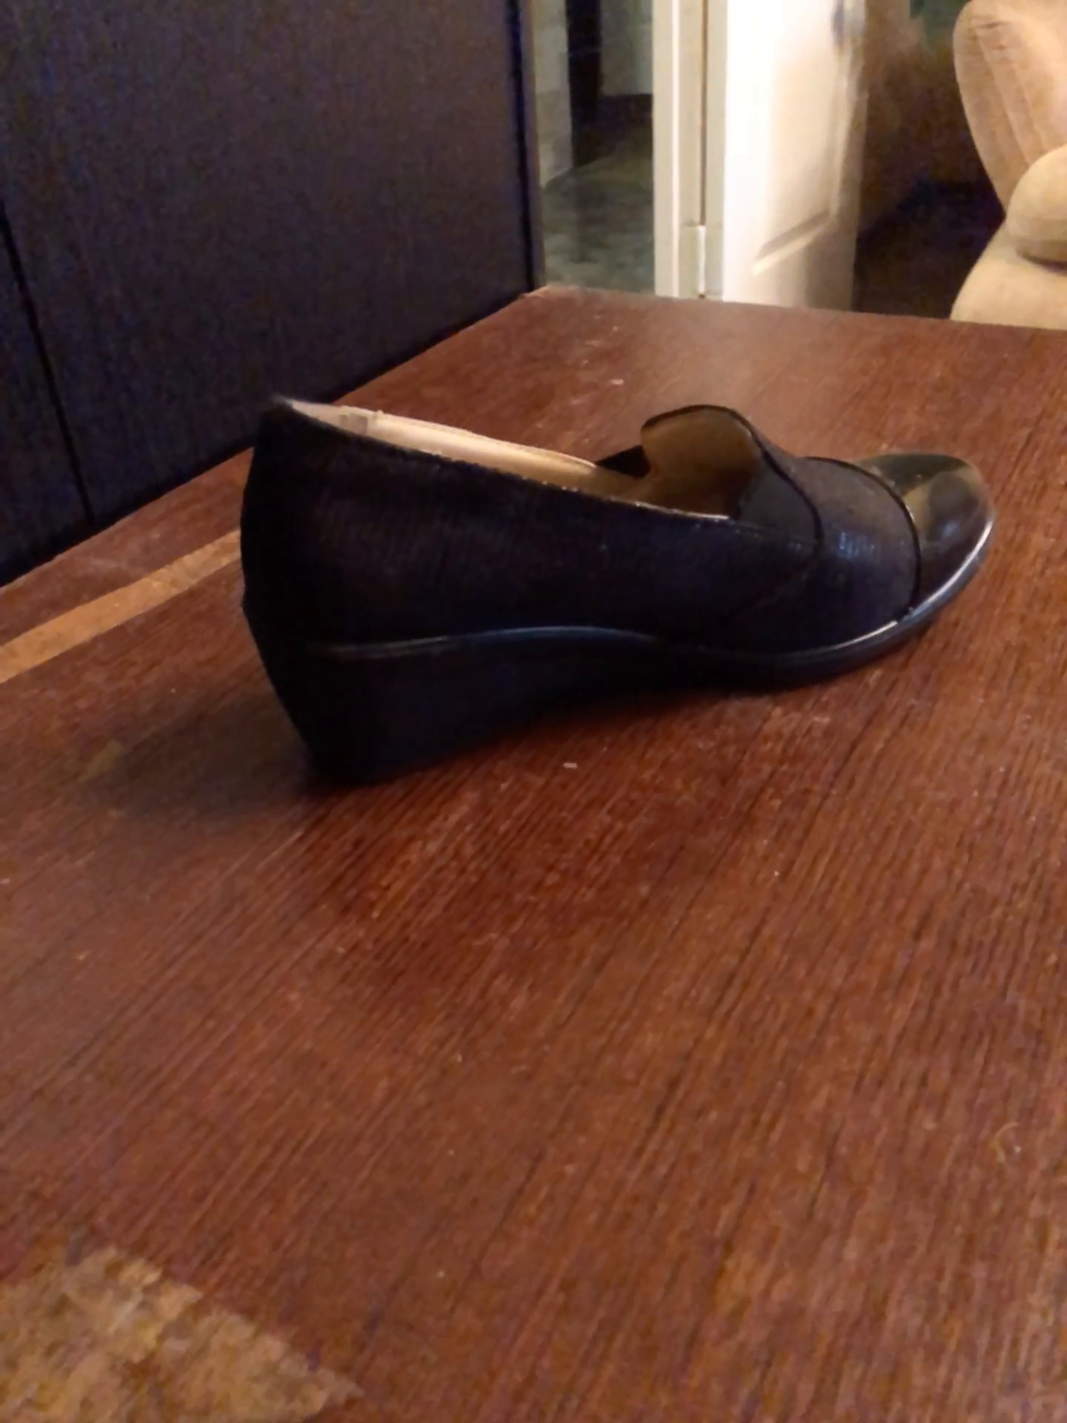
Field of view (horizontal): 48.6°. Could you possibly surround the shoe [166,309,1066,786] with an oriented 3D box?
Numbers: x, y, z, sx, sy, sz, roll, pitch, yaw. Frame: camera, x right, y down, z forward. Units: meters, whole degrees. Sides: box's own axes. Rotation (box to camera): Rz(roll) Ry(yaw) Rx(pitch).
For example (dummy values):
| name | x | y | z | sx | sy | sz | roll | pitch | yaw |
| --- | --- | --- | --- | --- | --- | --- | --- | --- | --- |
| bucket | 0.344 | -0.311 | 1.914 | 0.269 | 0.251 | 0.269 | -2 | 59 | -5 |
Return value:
| name | x | y | z | sx | sy | sz | roll | pitch | yaw |
| --- | --- | --- | --- | --- | --- | --- | --- | --- | --- |
| shoe | 0.031 | -0.057 | 0.329 | 0.236 | 0.070 | 0.090 | -12 | 34 | -20 |
